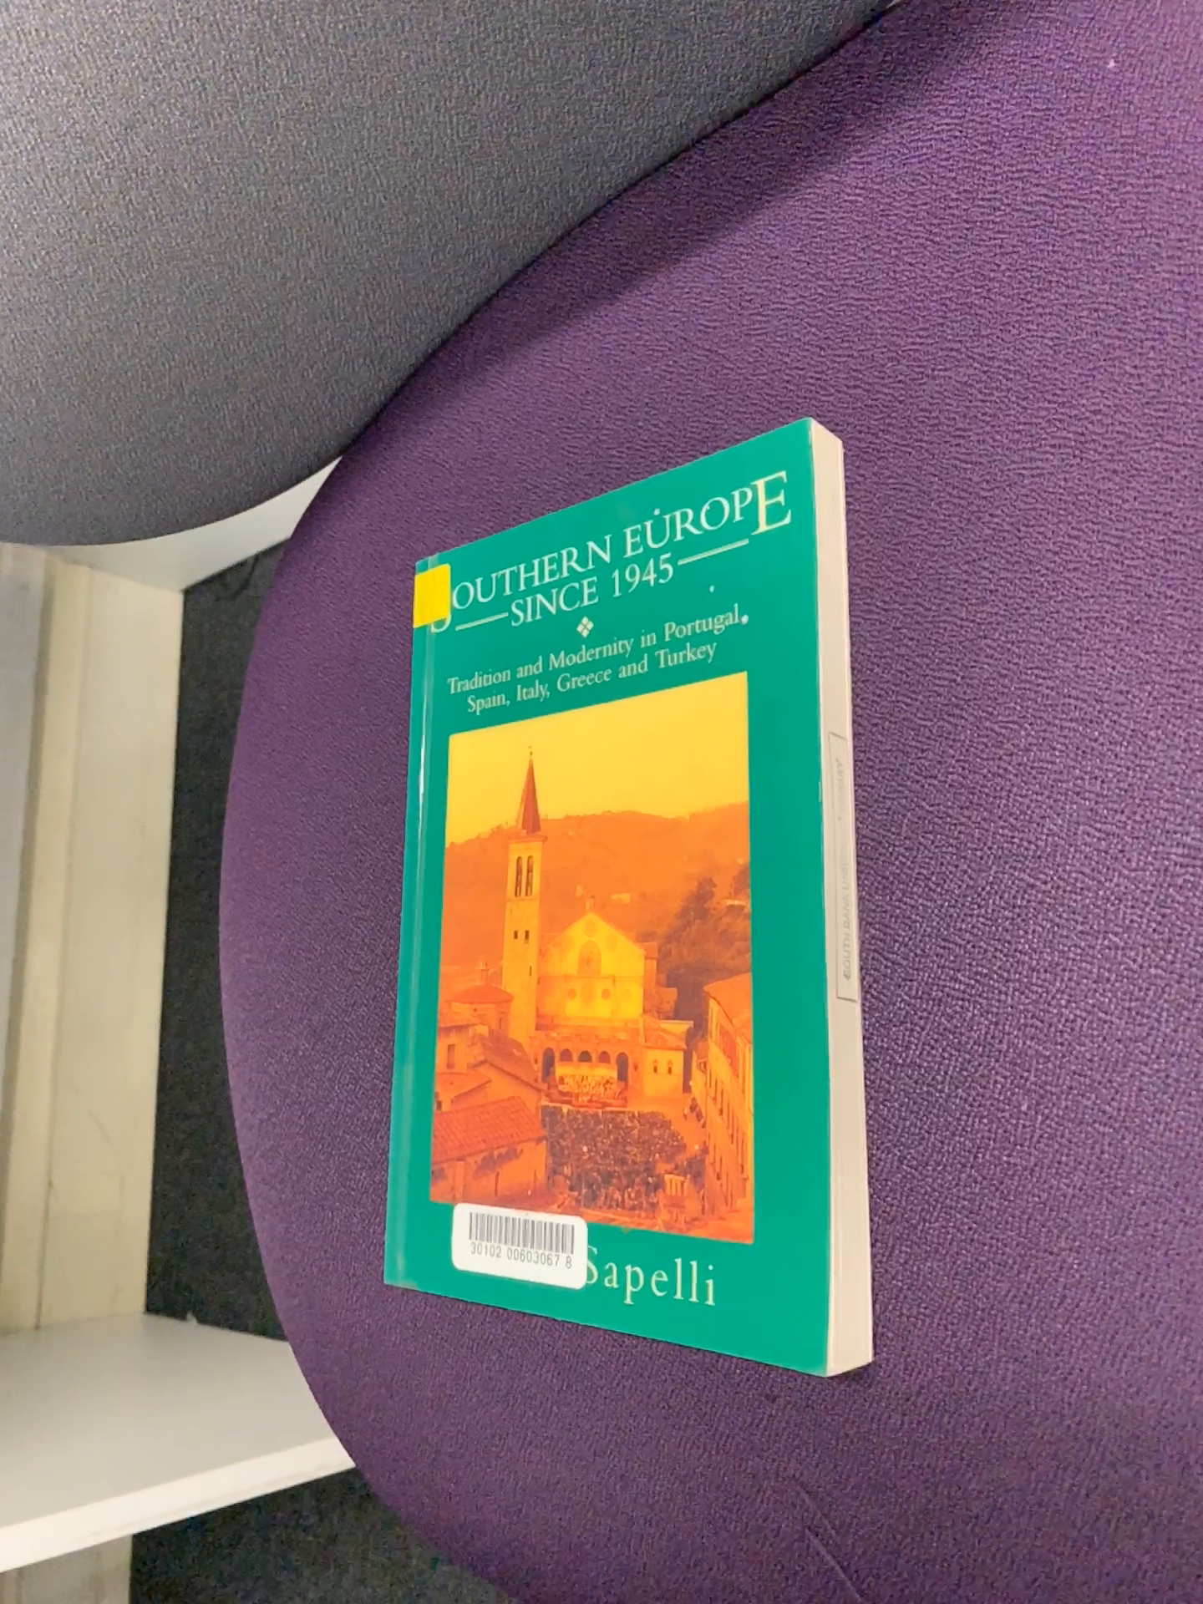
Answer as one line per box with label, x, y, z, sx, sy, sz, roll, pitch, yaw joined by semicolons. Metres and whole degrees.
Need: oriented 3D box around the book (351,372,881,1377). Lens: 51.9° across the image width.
book;-0.004;0.017;0.327;0.154;0.020;0.221;-9;76;40
